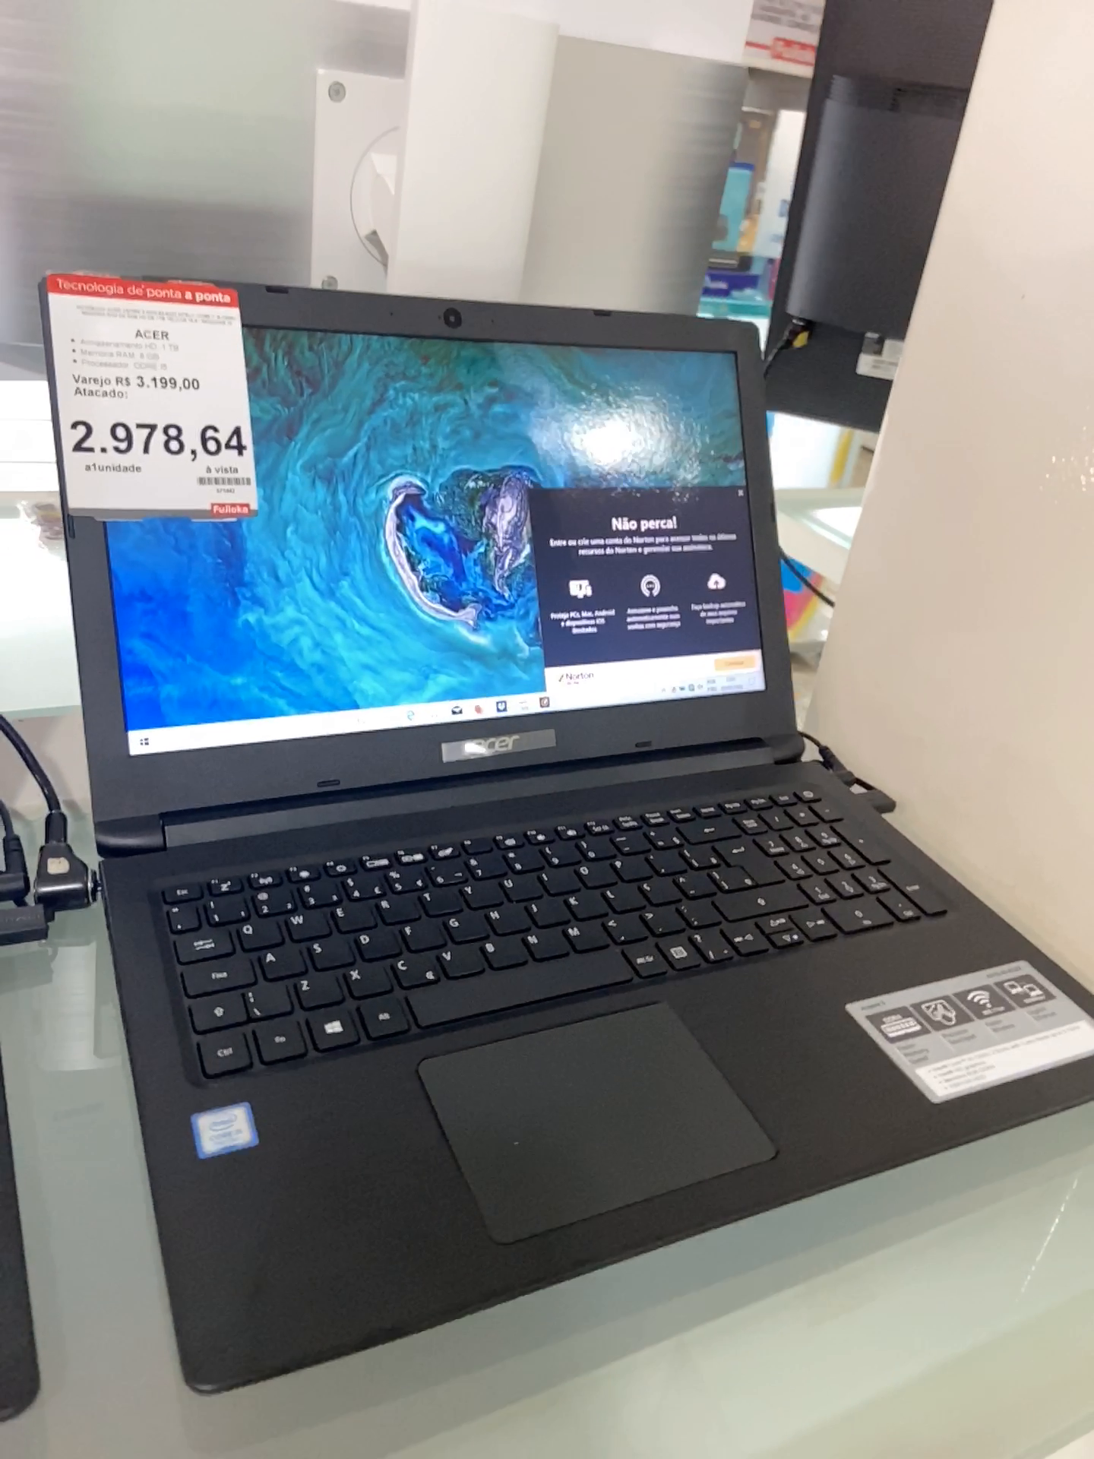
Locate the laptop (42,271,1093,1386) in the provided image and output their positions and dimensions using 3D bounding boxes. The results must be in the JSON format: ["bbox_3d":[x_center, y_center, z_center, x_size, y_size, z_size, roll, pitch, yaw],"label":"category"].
[{"bbox_3d":[0.013,-0.033,0.461,0.370,0.205,0.376,-6,31,-25],"label":"laptop"}]
